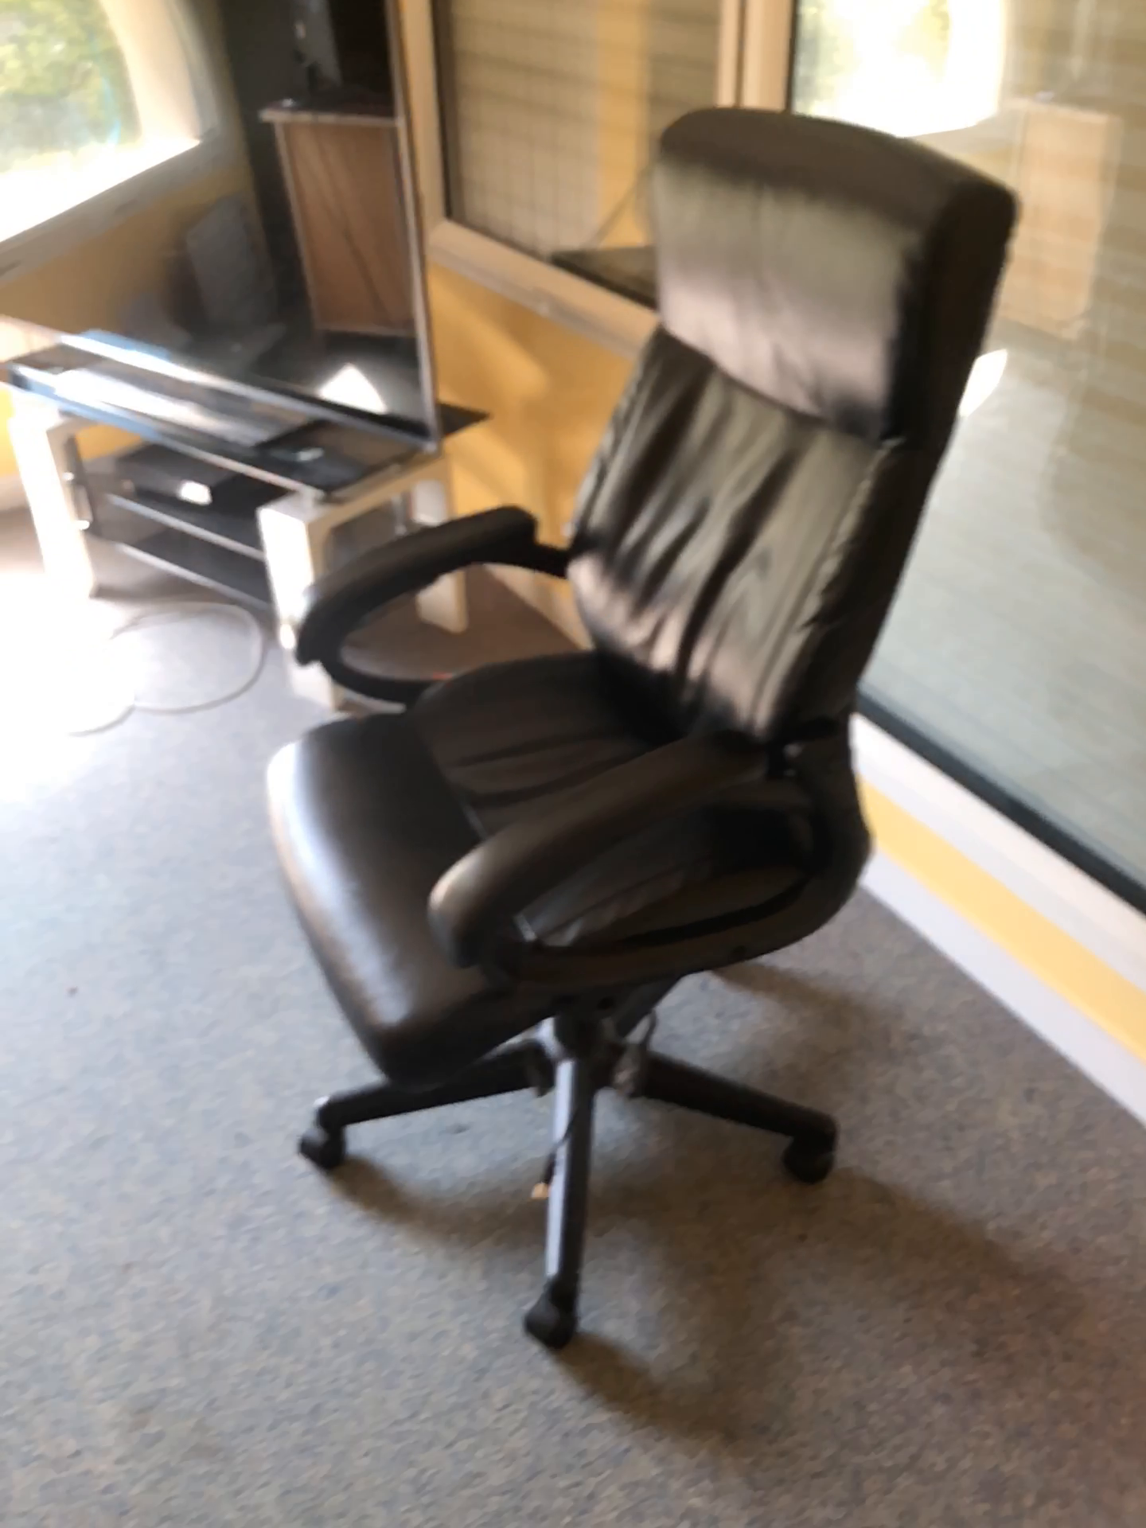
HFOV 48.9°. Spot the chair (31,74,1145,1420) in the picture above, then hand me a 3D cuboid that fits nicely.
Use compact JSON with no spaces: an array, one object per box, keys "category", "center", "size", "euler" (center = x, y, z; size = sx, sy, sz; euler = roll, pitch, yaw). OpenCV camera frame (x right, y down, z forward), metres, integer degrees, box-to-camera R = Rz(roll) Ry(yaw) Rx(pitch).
[{"category":"chair","center":[0.000,-0.051,1.362],"size":[0.752,1.113,0.662],"euler":[-17,38,-21]}]
